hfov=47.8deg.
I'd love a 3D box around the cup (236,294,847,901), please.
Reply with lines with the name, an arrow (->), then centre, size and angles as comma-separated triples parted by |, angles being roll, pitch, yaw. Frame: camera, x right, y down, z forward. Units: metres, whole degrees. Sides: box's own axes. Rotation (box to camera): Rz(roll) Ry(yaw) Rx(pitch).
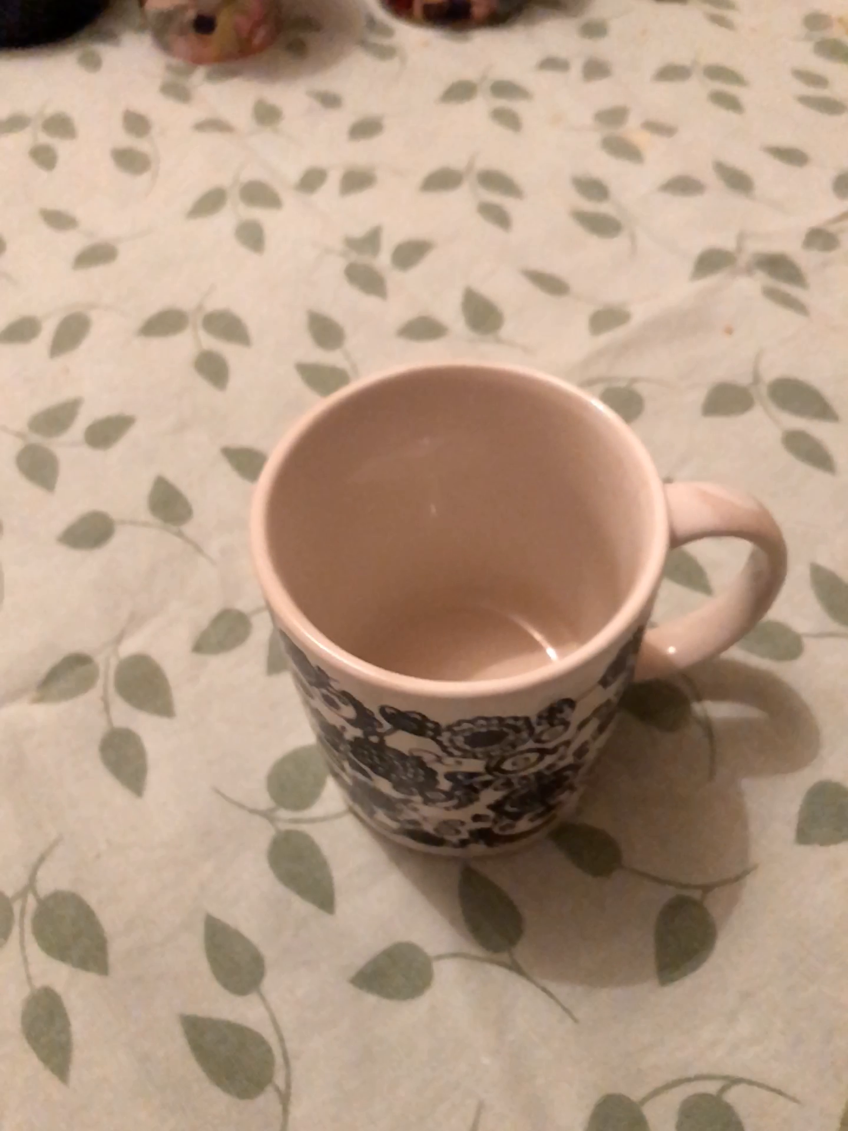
cup -> 0.029, 0.012, 0.218 | 0.120, 0.099, 0.080 | -9, 56, -4
